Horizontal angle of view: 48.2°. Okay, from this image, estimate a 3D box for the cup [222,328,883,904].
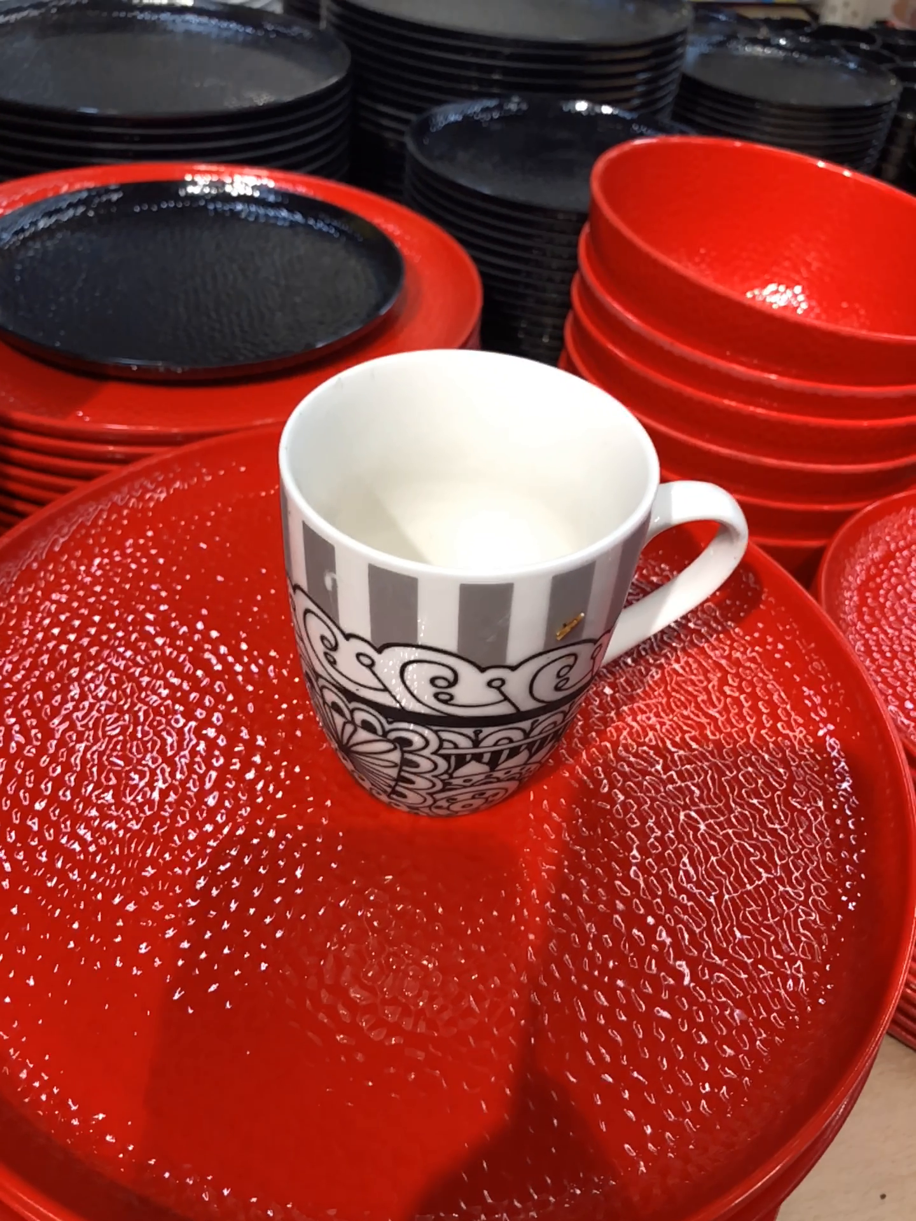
[{"bbox_3d":[0.010,-0.001,0.244,0.120,0.099,0.080,-5,42,-11],"label":"cup"}]
